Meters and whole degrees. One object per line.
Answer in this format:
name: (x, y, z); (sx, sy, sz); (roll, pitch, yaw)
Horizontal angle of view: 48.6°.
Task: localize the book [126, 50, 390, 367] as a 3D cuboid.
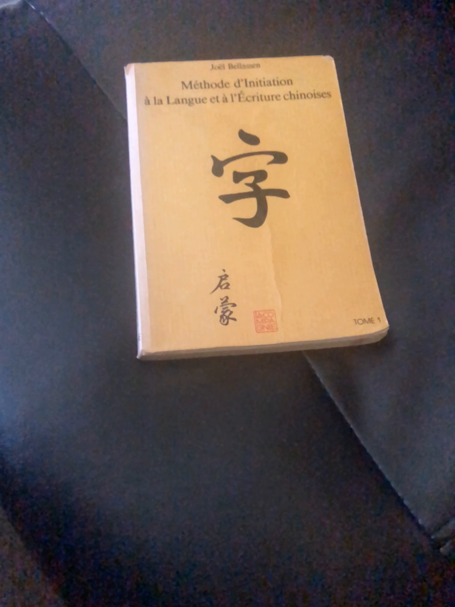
book: (0.011, -0.074, 0.345); (0.152, 0.029, 0.220); (-4, 70, -1)
